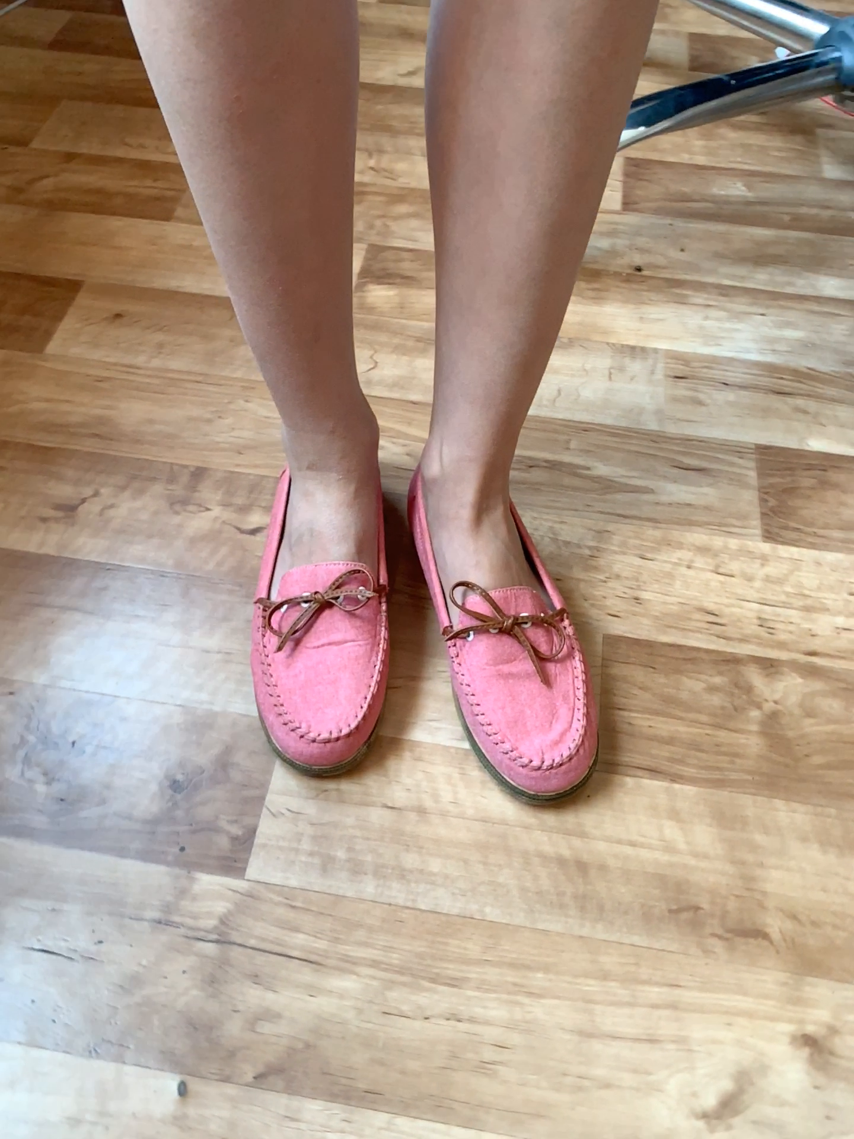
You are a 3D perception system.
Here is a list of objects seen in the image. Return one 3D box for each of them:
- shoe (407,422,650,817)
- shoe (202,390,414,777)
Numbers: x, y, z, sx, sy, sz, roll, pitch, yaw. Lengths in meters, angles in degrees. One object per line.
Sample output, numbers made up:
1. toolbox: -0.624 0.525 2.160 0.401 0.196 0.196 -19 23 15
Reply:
1. shoe: 0.054 0.021 0.567 0.090 0.060 0.251 -9 56 -7
2. shoe: -0.066 -0.002 0.576 0.100 0.060 0.261 3 55 1
